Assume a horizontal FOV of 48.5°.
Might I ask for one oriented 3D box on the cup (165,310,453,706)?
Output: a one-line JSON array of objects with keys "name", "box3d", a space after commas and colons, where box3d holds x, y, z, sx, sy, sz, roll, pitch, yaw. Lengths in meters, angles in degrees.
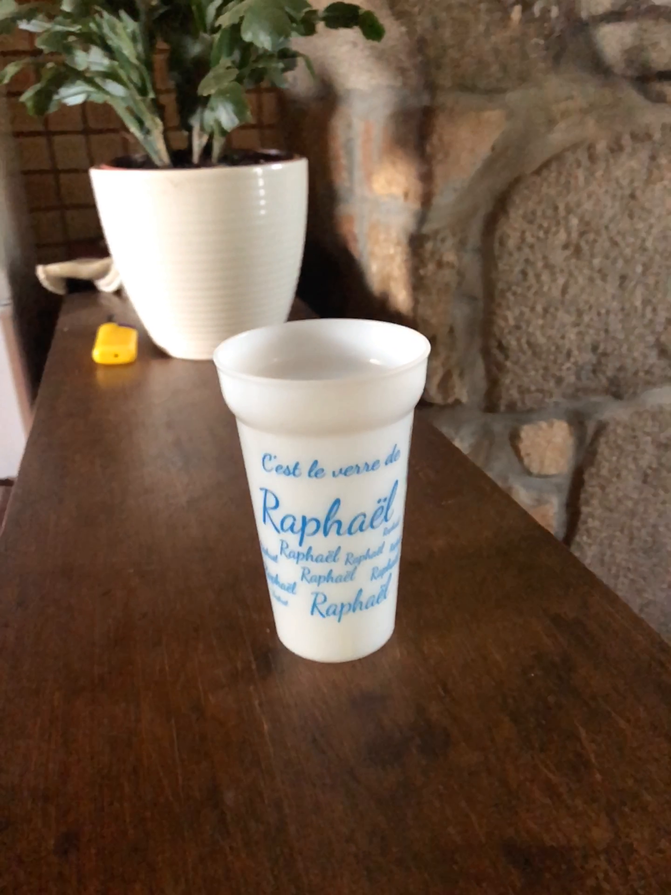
[{"name": "cup", "box3d": [-0.003, 0.017, 0.286, 0.080, 0.119, 0.080, -2, 23, 1]}]
